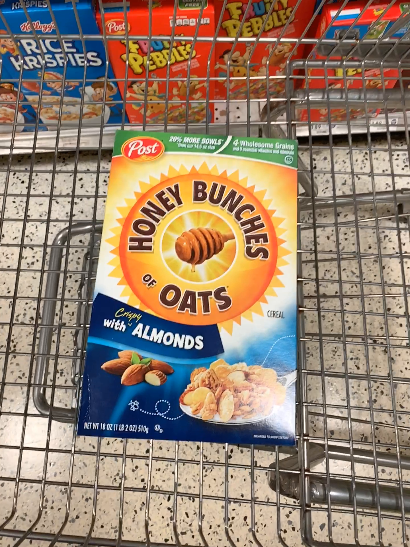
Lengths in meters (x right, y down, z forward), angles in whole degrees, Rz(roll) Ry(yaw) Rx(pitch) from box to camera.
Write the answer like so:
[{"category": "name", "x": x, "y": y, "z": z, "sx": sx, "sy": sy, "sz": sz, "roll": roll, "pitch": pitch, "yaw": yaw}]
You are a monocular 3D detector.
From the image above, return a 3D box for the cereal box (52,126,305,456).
[{"category": "cereal box", "x": -0.015, "y": 0.009, "z": 0.419, "sx": 0.210, "sy": 0.060, "sz": 0.301, "roll": 3, "pitch": 75, "yaw": -1}]
